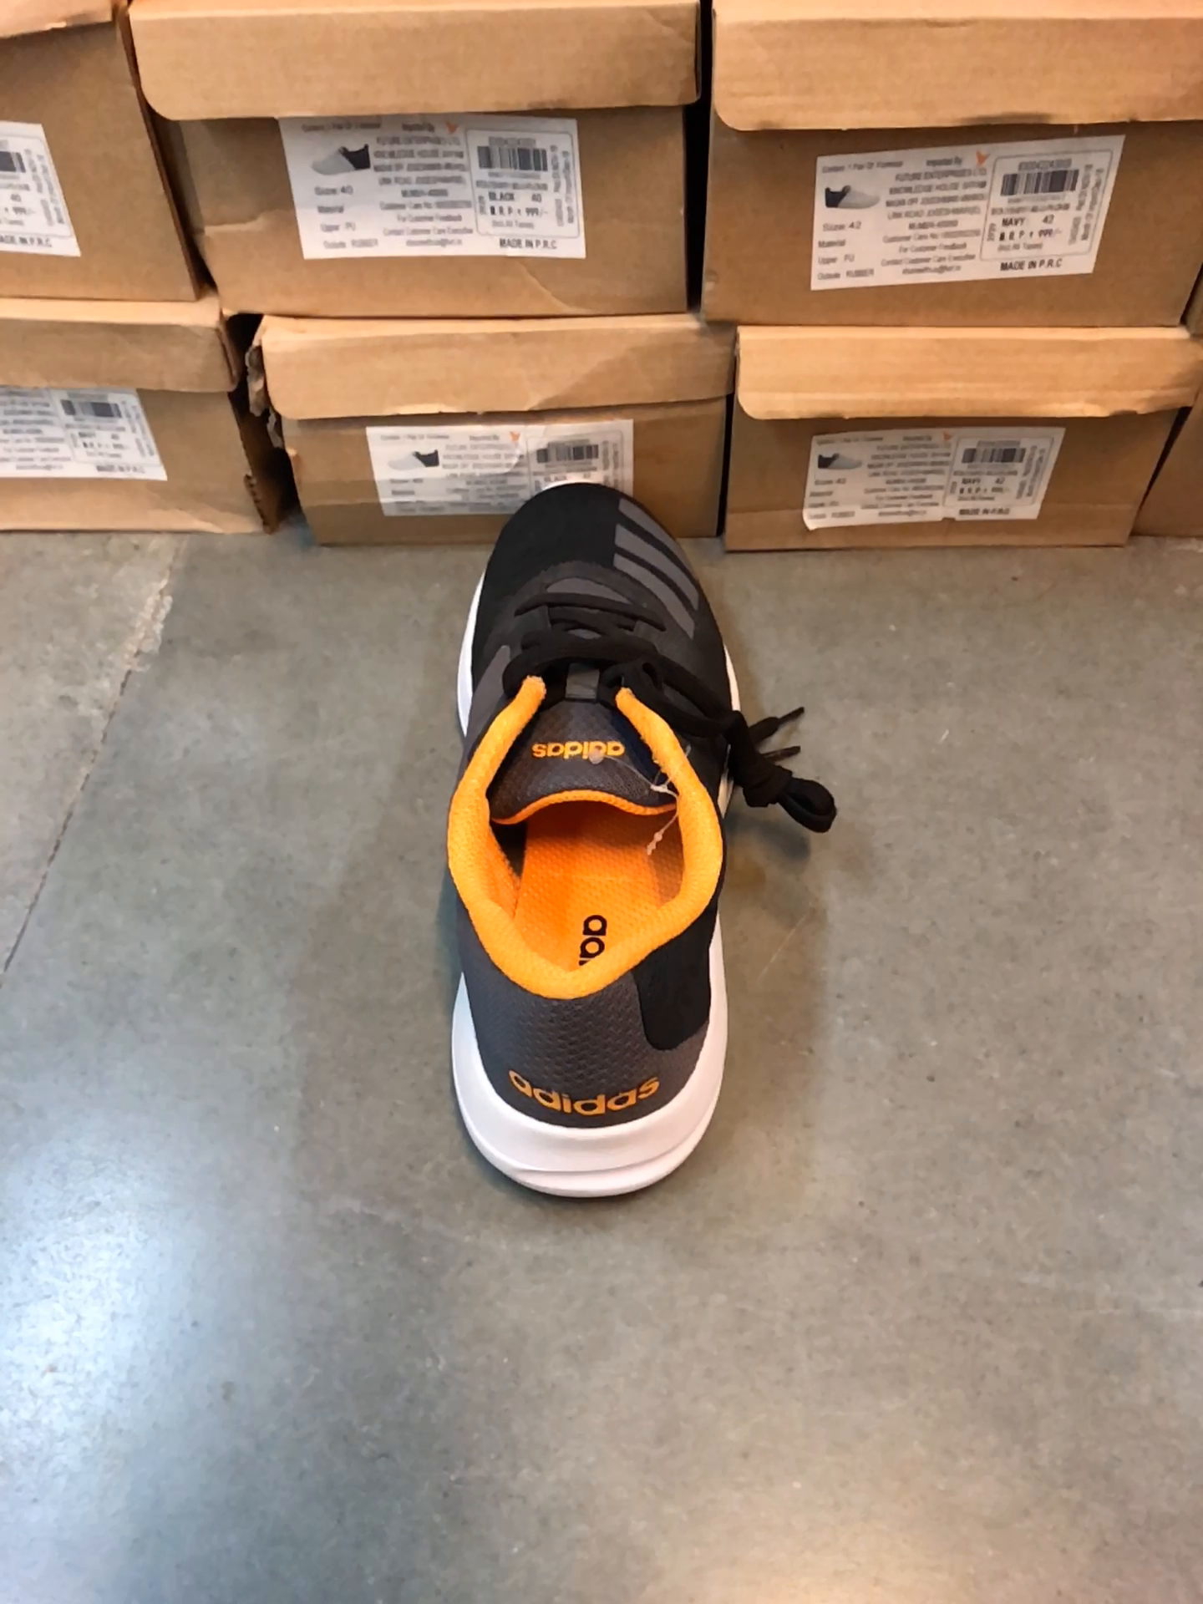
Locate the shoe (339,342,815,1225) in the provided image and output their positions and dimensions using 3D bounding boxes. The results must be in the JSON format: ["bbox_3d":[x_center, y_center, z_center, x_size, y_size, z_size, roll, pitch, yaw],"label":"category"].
[{"bbox_3d":[-0.003,-0.017,0.434,0.110,0.117,0.272,1,53,1],"label":"shoe"}]
